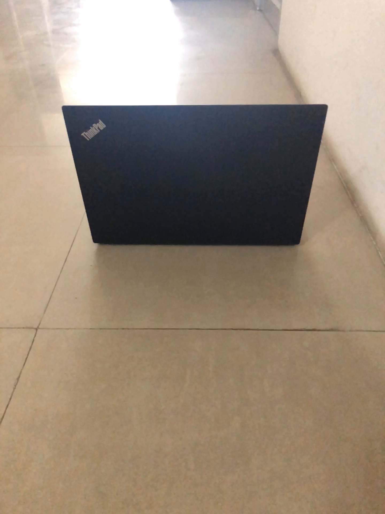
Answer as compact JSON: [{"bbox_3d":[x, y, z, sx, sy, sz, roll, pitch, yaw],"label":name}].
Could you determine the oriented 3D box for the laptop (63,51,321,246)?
[{"bbox_3d":[0.006,-0.198,0.751,0.353,0.240,0.256,1,40,2],"label":"laptop"}]
